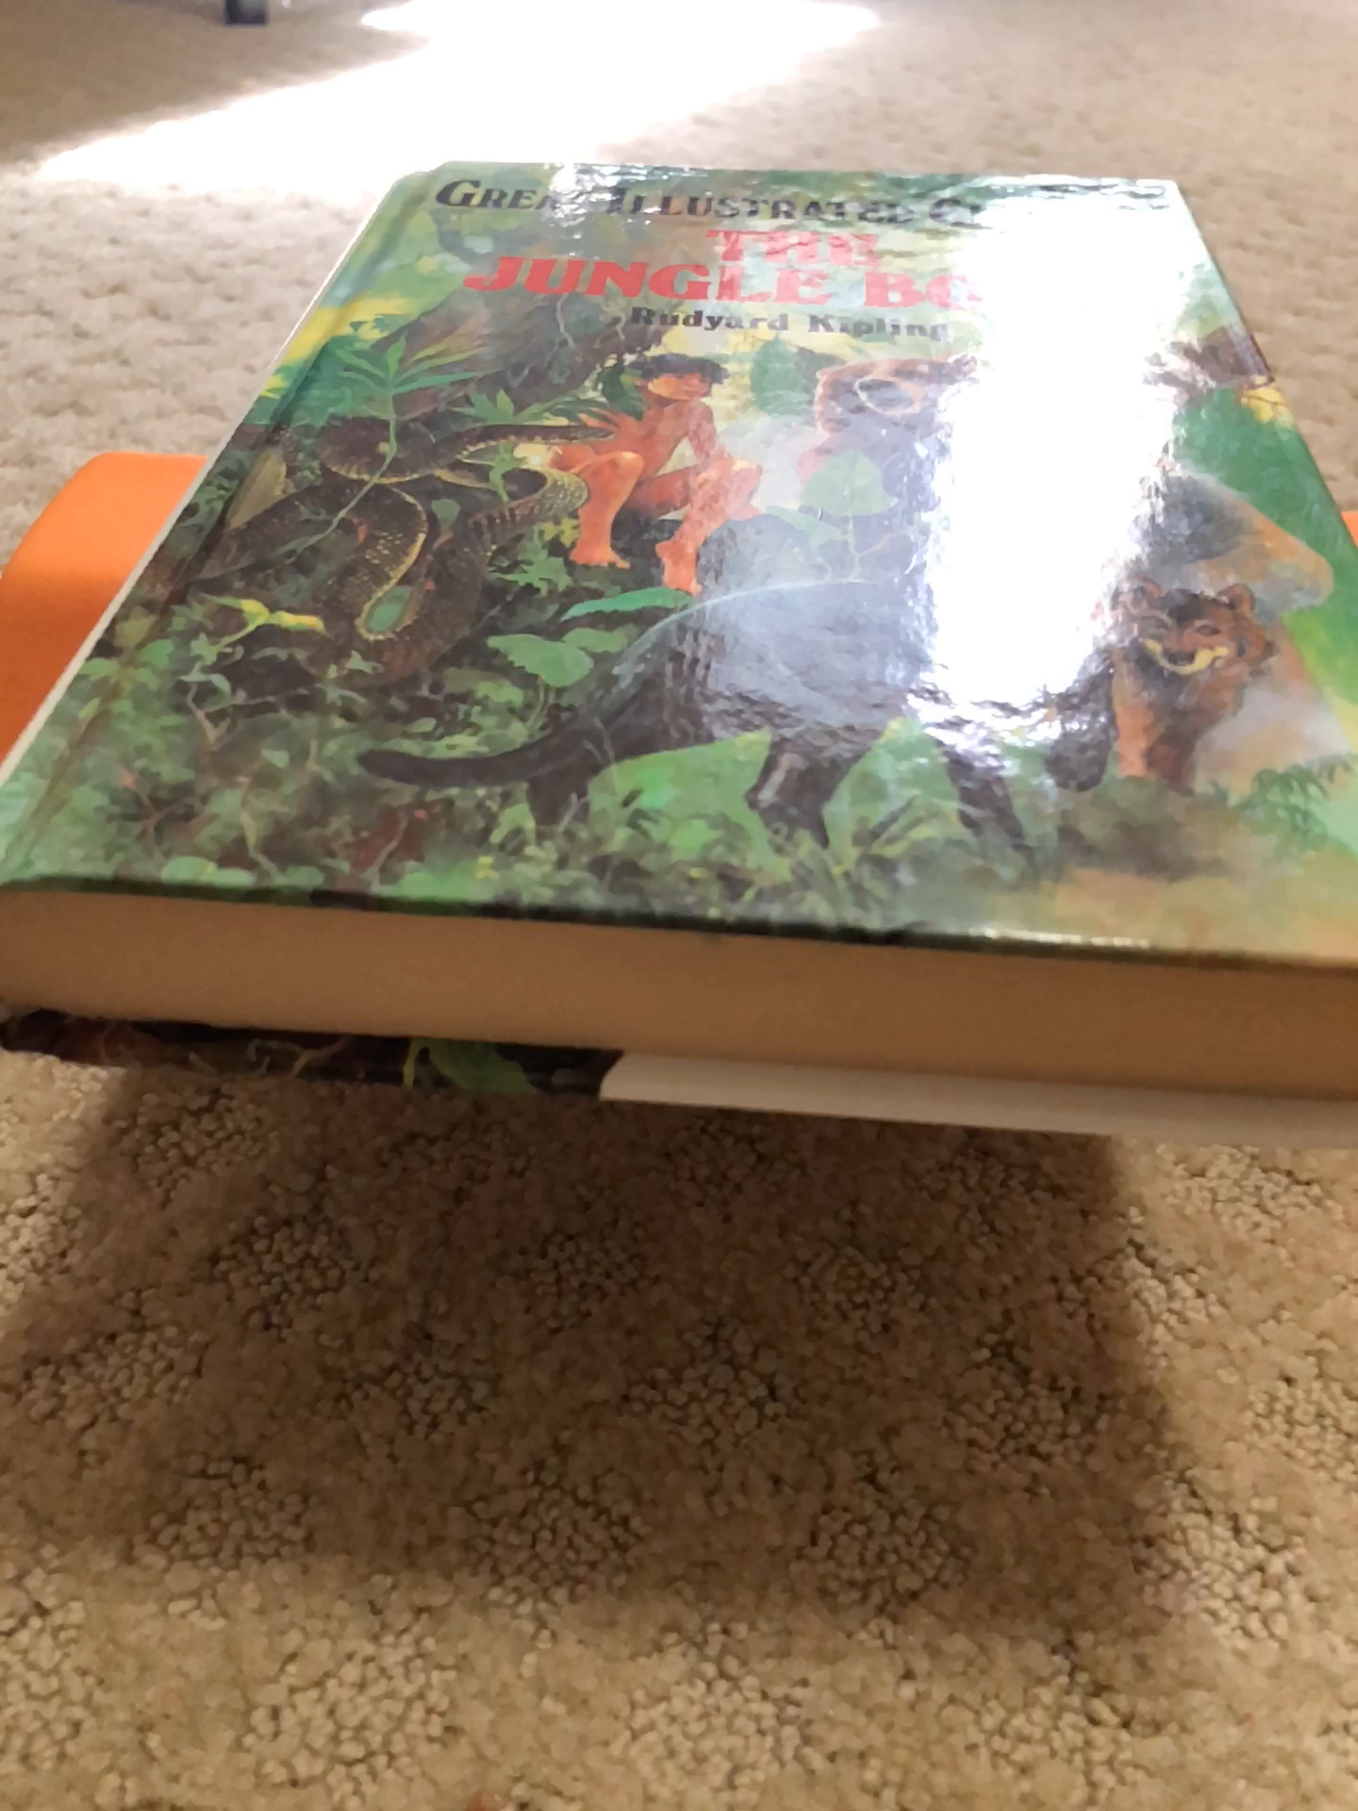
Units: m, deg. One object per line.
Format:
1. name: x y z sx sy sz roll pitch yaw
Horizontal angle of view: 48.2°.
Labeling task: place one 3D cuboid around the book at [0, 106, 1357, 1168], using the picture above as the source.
1. book: 0.014 -0.062 0.213 0.140 0.029 0.209 4 43 2
